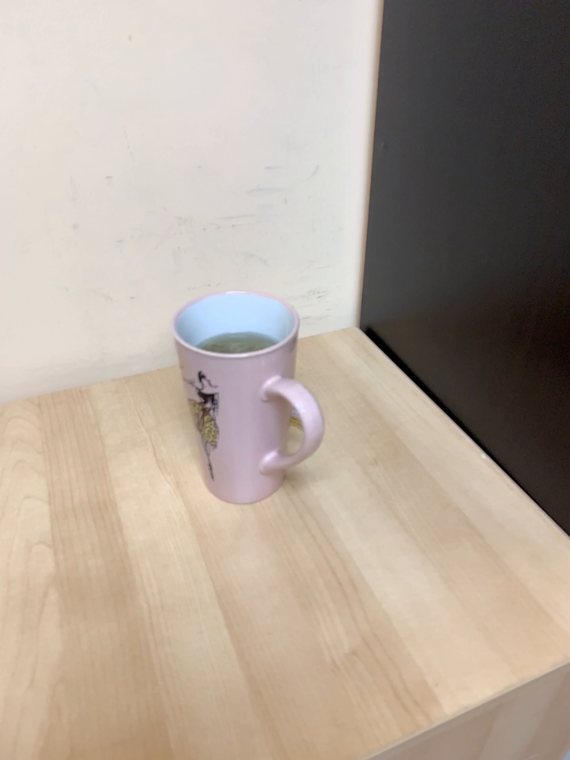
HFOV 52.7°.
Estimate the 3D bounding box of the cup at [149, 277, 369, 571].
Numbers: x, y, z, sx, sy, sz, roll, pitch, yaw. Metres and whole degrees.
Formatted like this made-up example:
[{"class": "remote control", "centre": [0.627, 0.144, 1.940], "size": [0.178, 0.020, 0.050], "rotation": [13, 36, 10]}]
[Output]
[{"class": "cup", "centre": [-0.022, 0.027, 0.432], "size": [0.092, 0.151, 0.134], "rotation": [-22, 40, -27]}]
